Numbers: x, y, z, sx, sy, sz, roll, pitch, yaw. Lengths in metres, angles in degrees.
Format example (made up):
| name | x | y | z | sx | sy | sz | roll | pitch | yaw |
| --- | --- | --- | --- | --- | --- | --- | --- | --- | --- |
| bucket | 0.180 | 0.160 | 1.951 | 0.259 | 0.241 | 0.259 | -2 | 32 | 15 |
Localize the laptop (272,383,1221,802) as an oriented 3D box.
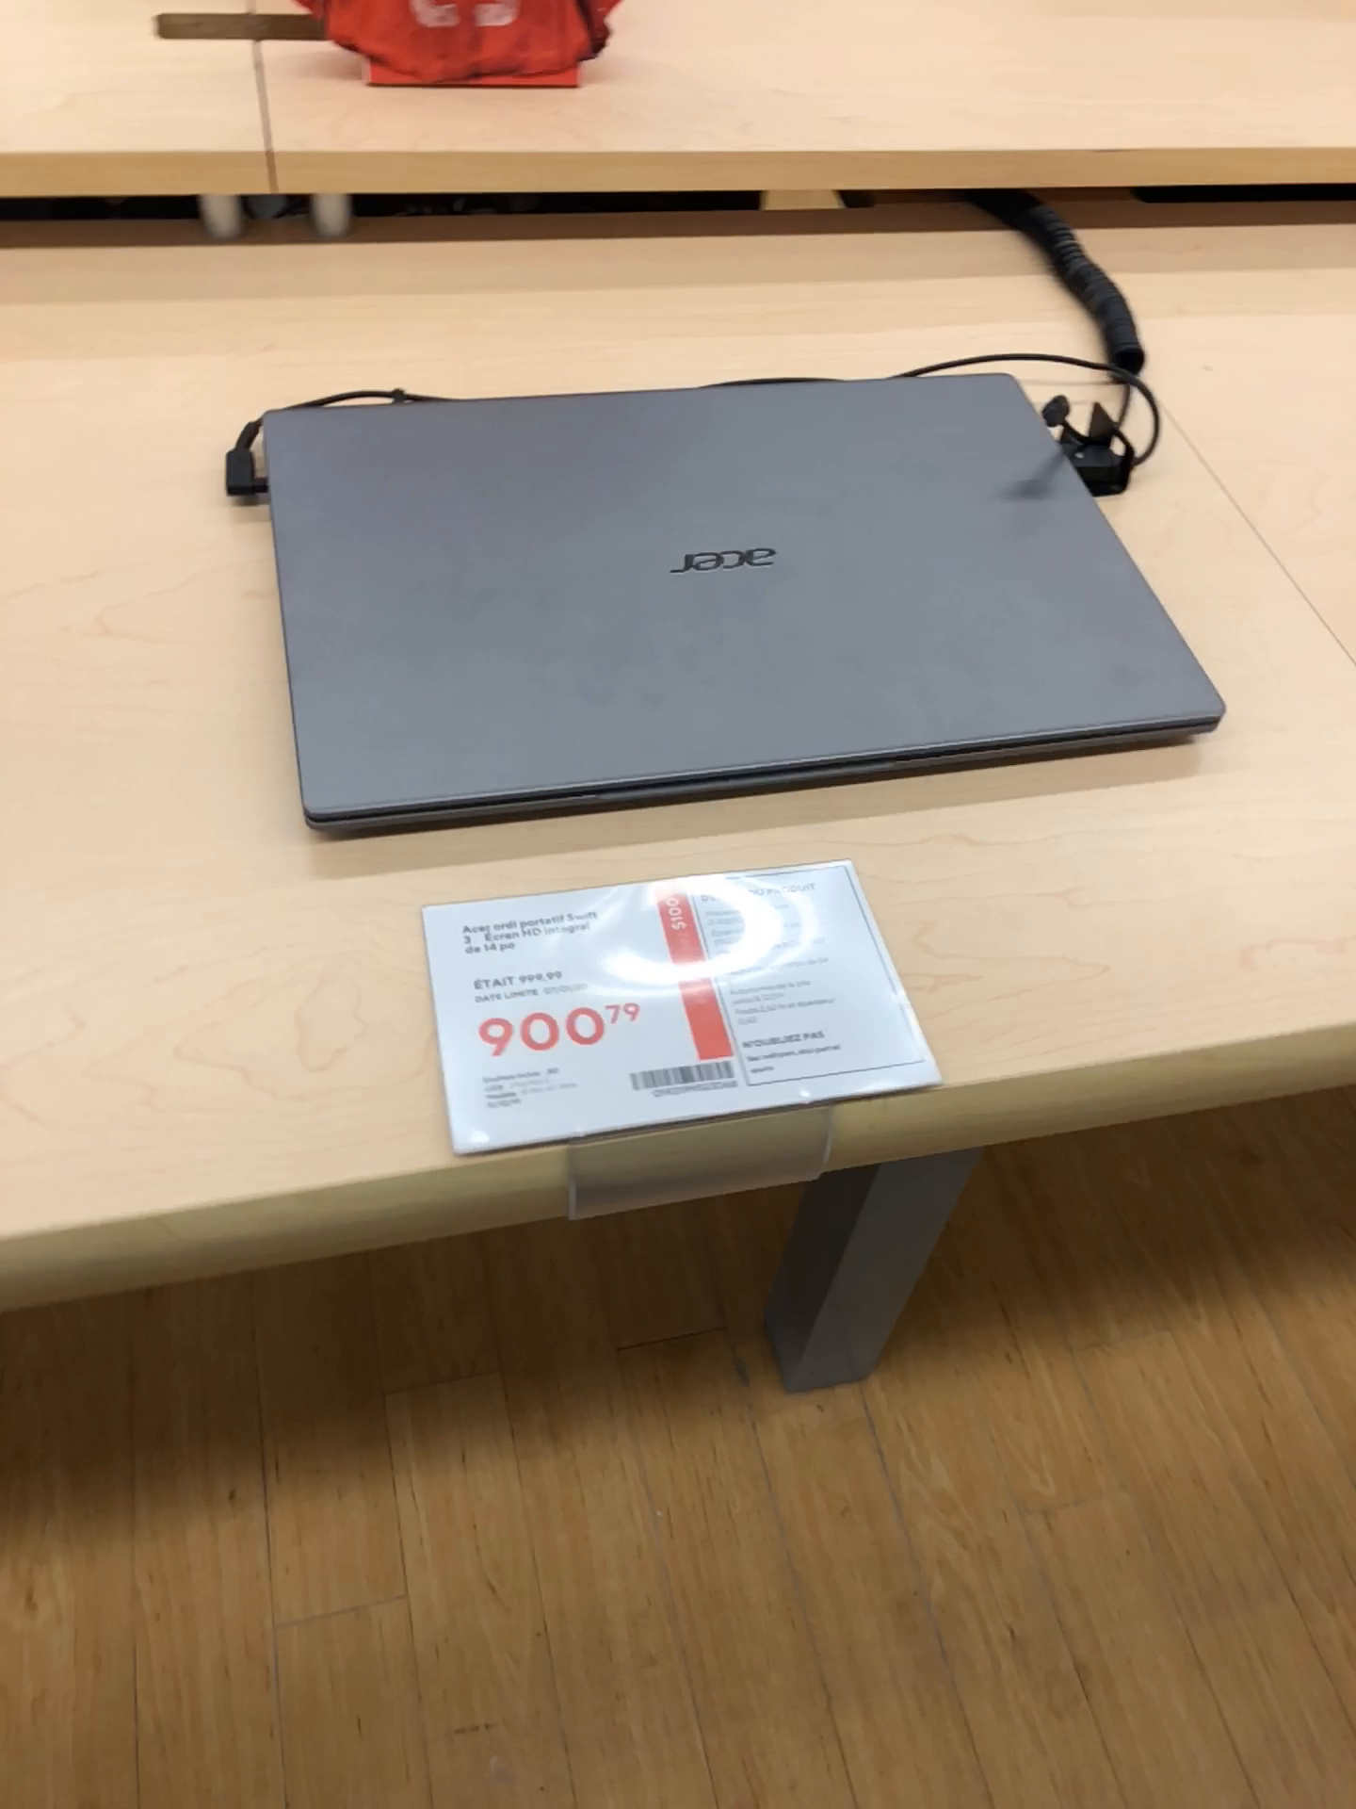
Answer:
| name | x | y | z | sx | sy | sz | roll | pitch | yaw |
| --- | --- | --- | --- | --- | --- | --- | --- | --- | --- |
| laptop | 0.017 | -0.126 | 0.542 | 0.306 | 0.001 | 0.201 | -7 | 52 | -13 |
